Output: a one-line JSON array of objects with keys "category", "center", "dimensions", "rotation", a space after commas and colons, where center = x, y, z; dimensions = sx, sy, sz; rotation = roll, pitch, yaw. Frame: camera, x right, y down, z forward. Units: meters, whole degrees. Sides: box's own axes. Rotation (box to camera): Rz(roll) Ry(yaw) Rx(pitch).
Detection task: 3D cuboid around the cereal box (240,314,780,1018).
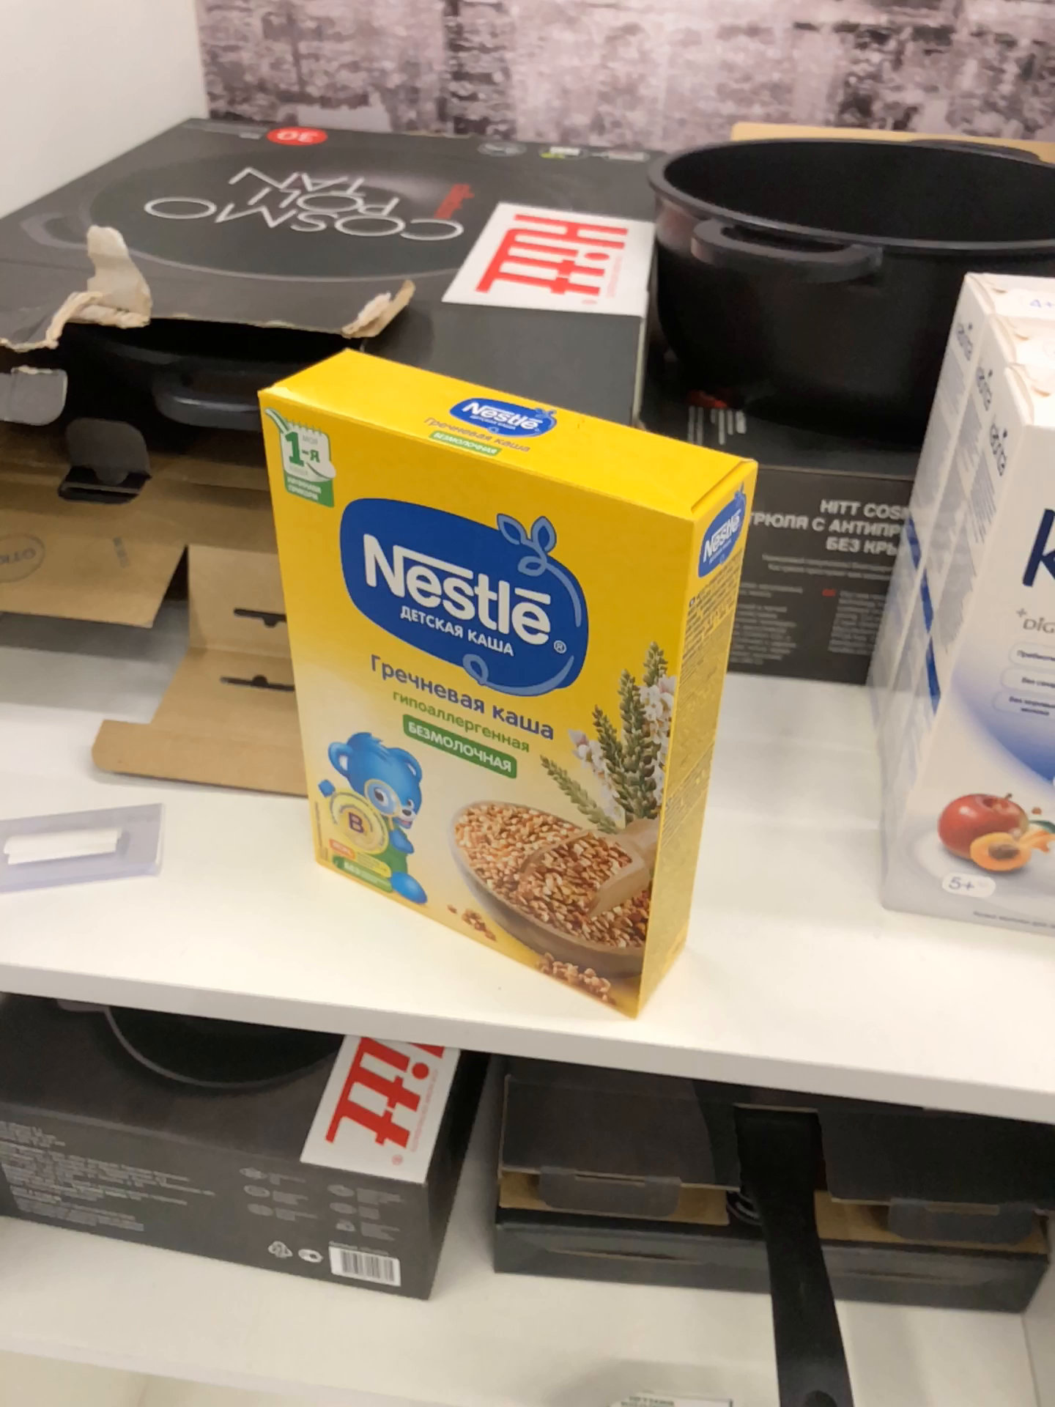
[{"category": "cereal box", "center": [-0.011, -0.009, 0.392], "dimensions": [0.150, 0.199, 0.050], "rotation": [21, 40, 23]}]
